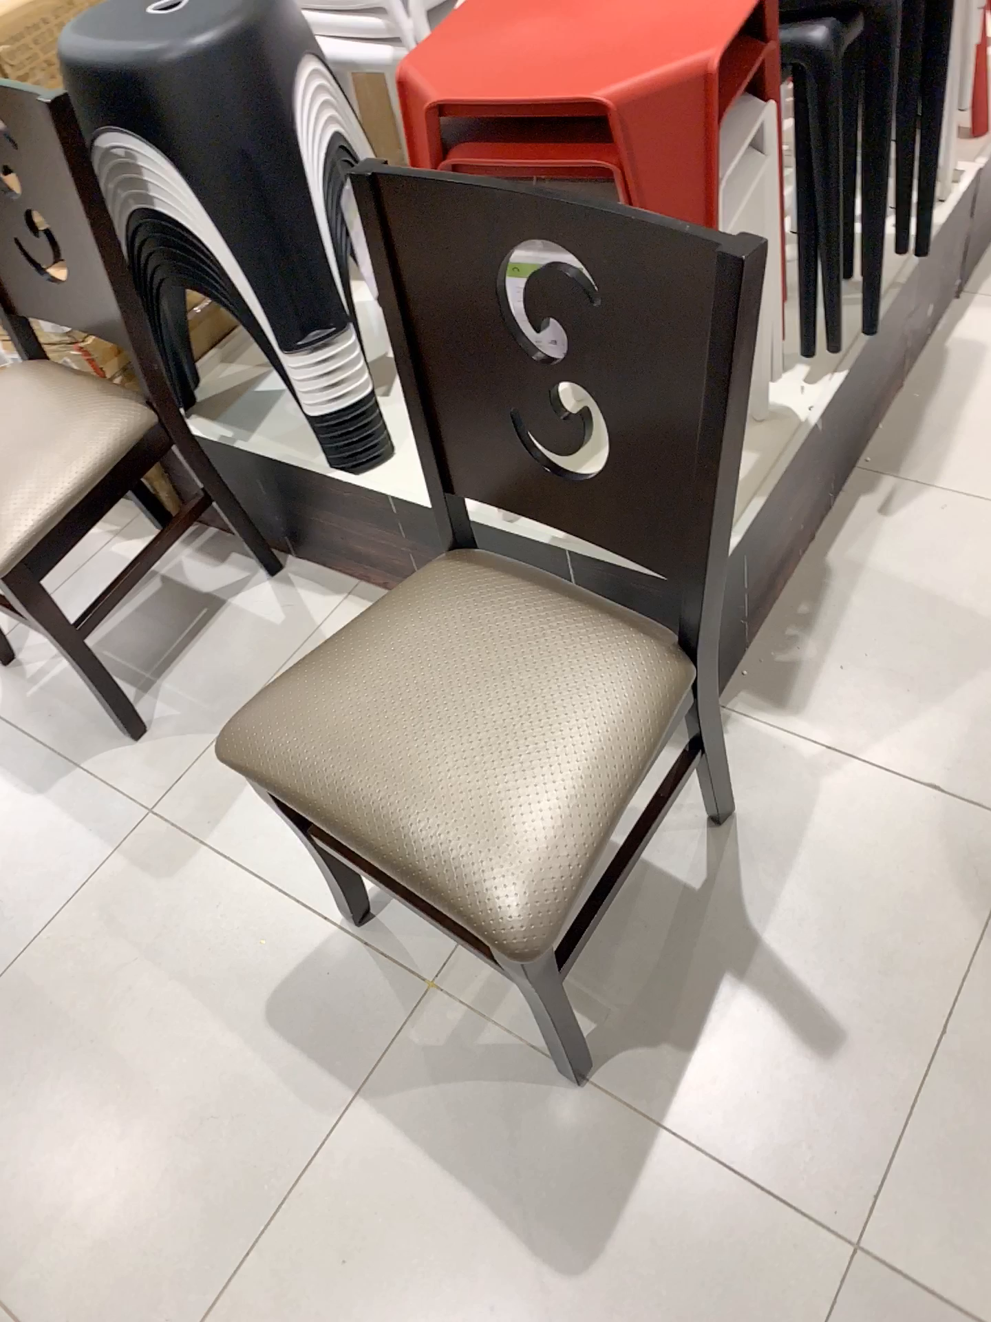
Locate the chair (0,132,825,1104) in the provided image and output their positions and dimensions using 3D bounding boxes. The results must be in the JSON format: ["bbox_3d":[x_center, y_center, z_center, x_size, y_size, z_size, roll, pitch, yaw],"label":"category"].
[{"bbox_3d":[-0.015,-0.008,1.122,0.501,0.847,0.520,25,60,29],"label":"chair"}]
